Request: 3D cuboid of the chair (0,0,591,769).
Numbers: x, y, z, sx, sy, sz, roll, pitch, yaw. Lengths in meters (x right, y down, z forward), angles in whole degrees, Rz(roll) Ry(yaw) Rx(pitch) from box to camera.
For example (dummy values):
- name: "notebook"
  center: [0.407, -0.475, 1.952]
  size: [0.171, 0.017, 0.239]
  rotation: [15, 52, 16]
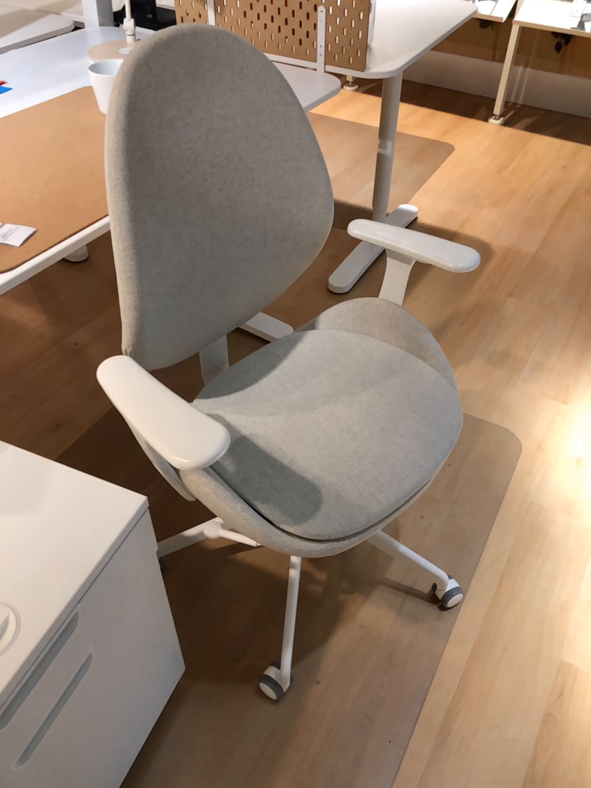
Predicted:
- name: "chair"
  center: [0.025, -0.050, 1.091]
  size: [0.702, 0.914, 0.652]
  rotation: [32, 51, 29]
